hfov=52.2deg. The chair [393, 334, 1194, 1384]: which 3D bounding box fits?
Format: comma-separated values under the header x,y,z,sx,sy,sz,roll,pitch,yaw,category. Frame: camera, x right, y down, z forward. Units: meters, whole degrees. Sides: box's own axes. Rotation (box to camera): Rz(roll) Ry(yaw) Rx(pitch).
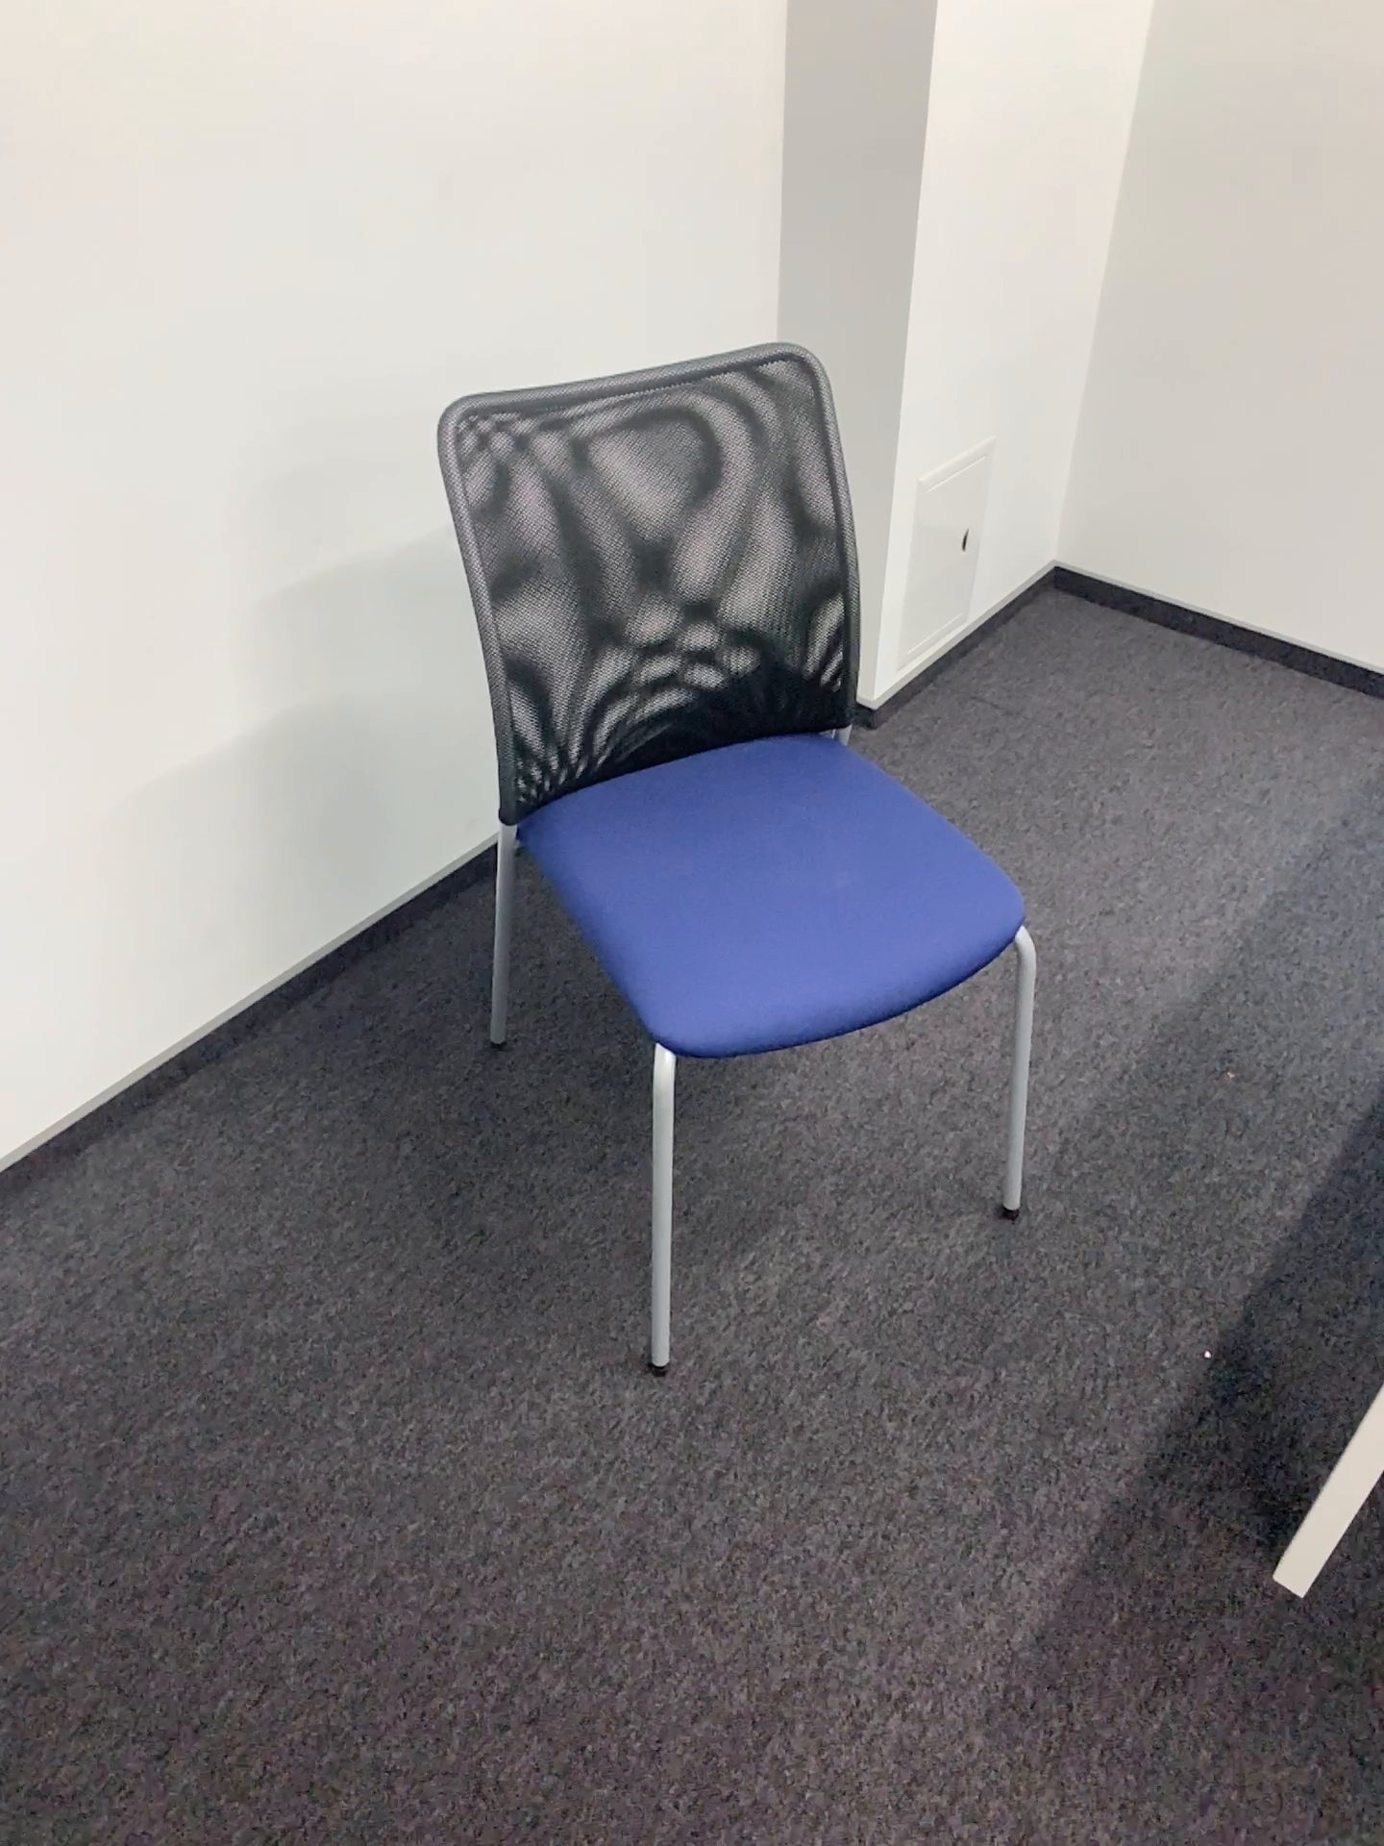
x,y,z,sx,sy,sz,roll,pitch,yaw,category
0.057,-0.070,1.539,0.491,0.865,0.592,-17,43,-19,chair
